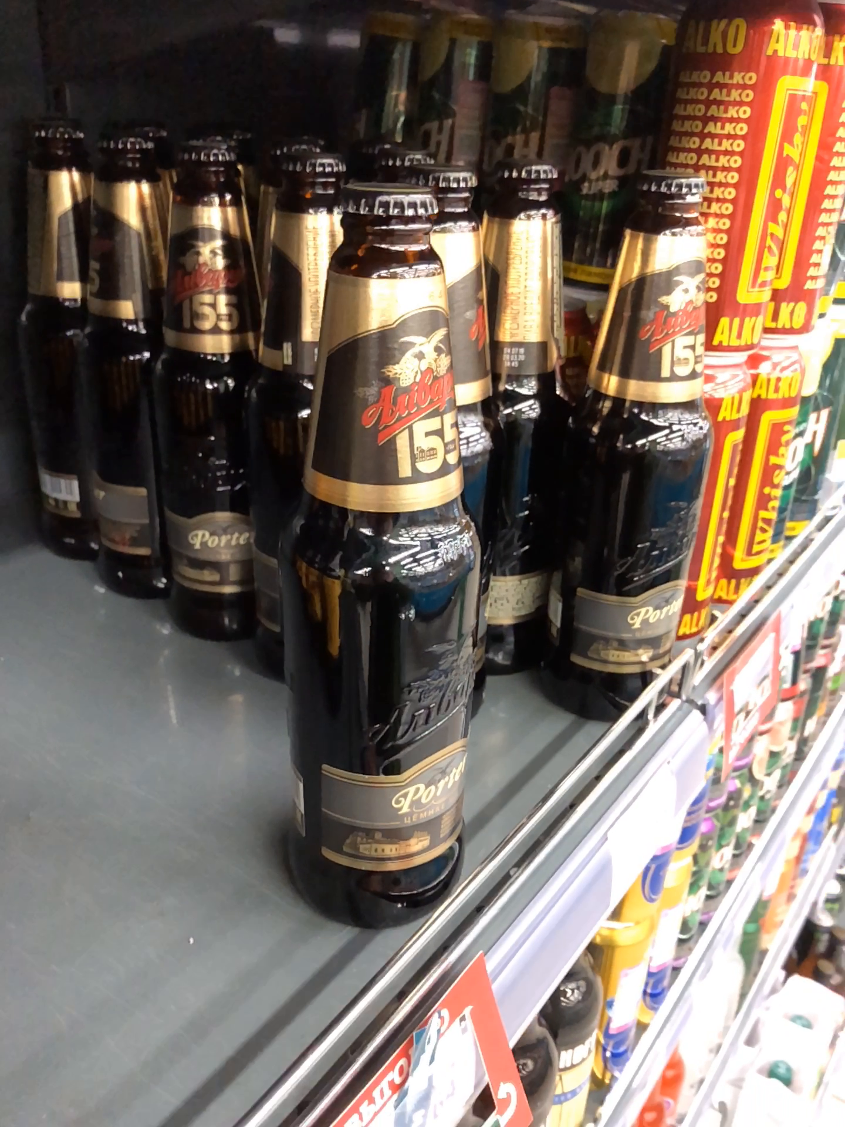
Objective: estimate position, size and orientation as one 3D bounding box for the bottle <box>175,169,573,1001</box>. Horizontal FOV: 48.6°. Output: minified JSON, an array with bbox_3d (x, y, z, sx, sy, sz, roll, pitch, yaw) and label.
[{"bbox_3d":[-0.020,0.010,0.323,0.080,0.263,0.080,3,26,-1],"label":"bottle"}]
